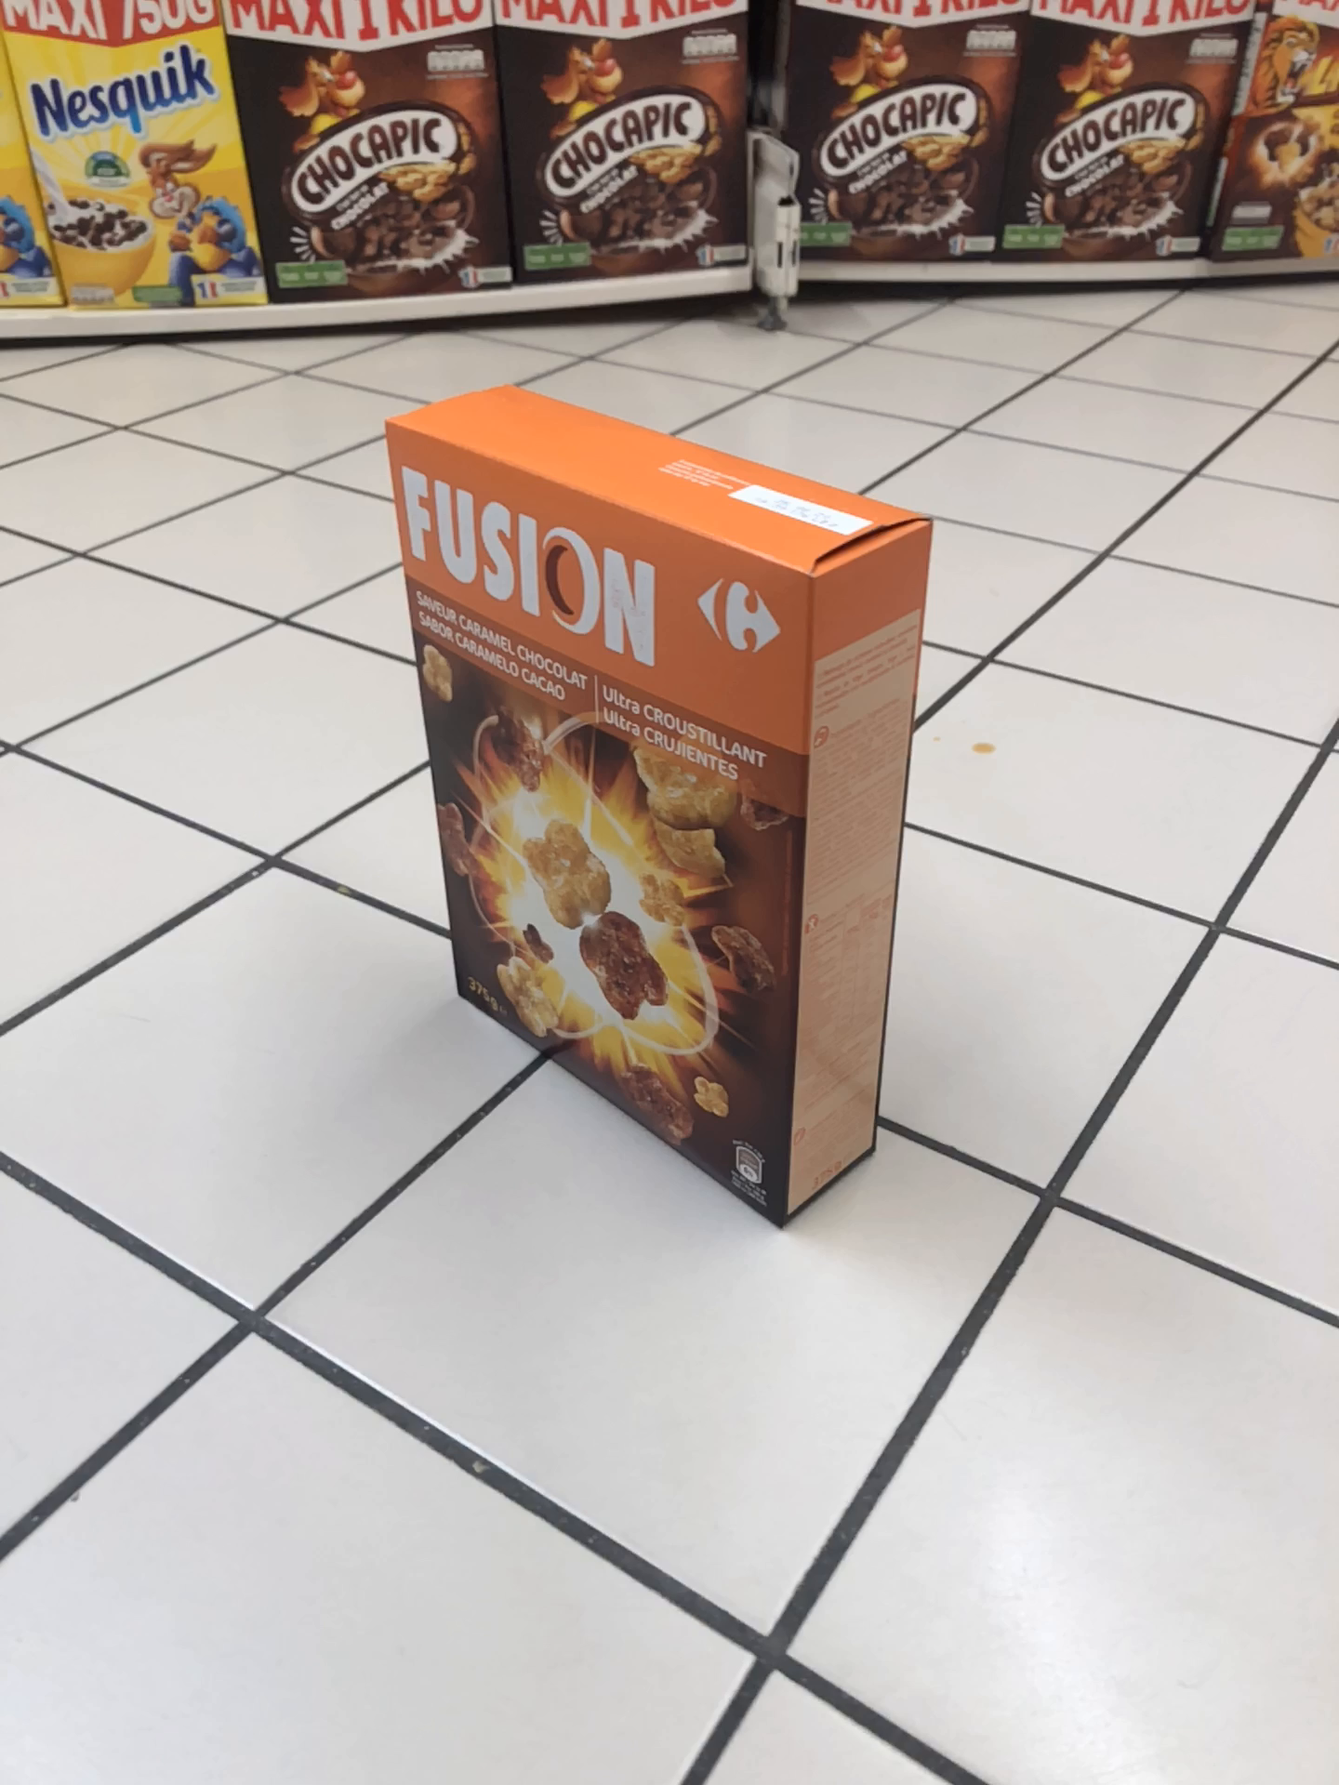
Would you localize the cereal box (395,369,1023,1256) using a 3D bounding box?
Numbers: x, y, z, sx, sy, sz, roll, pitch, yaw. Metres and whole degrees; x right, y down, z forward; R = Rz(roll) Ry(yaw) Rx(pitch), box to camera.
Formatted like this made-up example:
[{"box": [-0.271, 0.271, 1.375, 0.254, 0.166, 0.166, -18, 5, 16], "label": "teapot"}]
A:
[{"box": [0.006, -0.031, 0.519, 0.070, 0.248, 0.200, -29, 43, -34], "label": "cereal box"}]
